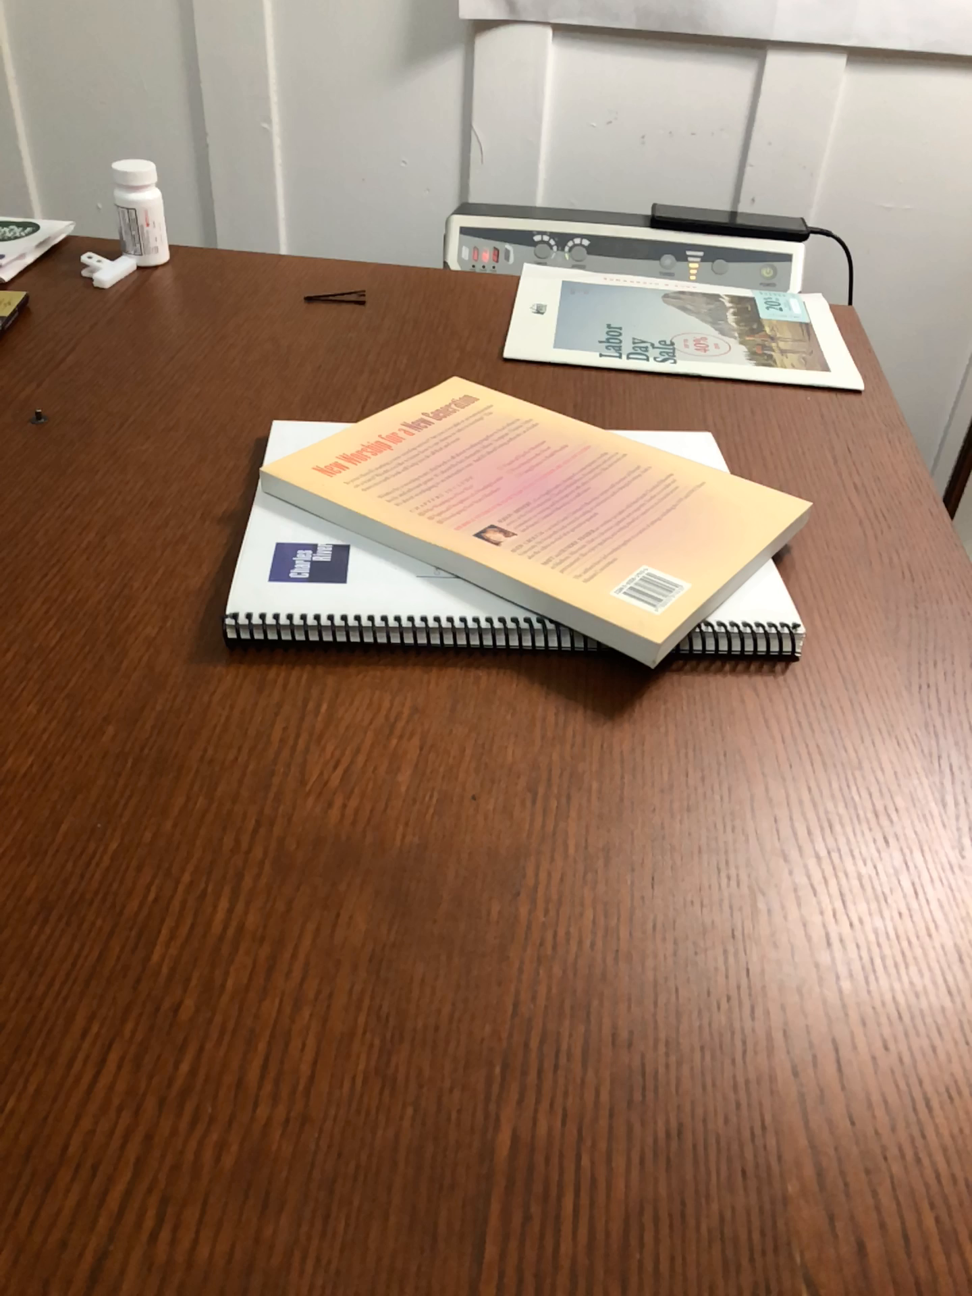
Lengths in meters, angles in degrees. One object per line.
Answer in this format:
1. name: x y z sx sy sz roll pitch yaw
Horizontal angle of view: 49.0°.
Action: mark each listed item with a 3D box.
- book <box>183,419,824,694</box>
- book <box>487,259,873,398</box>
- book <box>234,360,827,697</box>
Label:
1. book: 0.005 -0.059 0.578 0.290 0.020 0.231 1 38 -5
2. book: 0.144 -0.254 0.830 0.270 0.010 0.201 6 38 2
3. book: 0.025 -0.083 0.584 0.260 0.020 0.191 26 43 26
